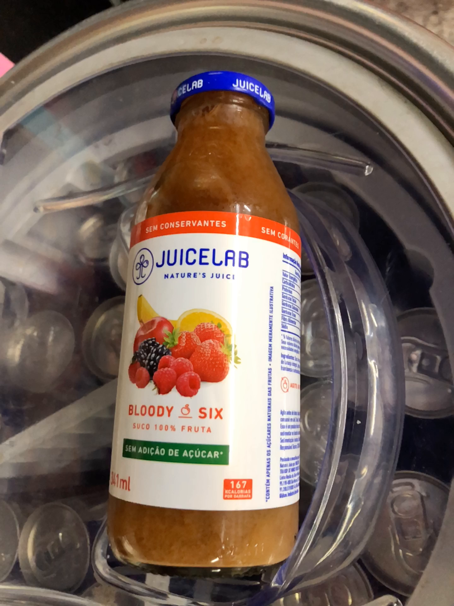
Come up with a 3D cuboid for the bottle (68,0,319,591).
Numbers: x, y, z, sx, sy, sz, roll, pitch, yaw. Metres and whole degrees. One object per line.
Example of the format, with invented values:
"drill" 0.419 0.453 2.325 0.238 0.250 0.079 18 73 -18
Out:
"bottle" -0.002 -0.009 0.193 0.070 0.060 0.190 -1 75 12
